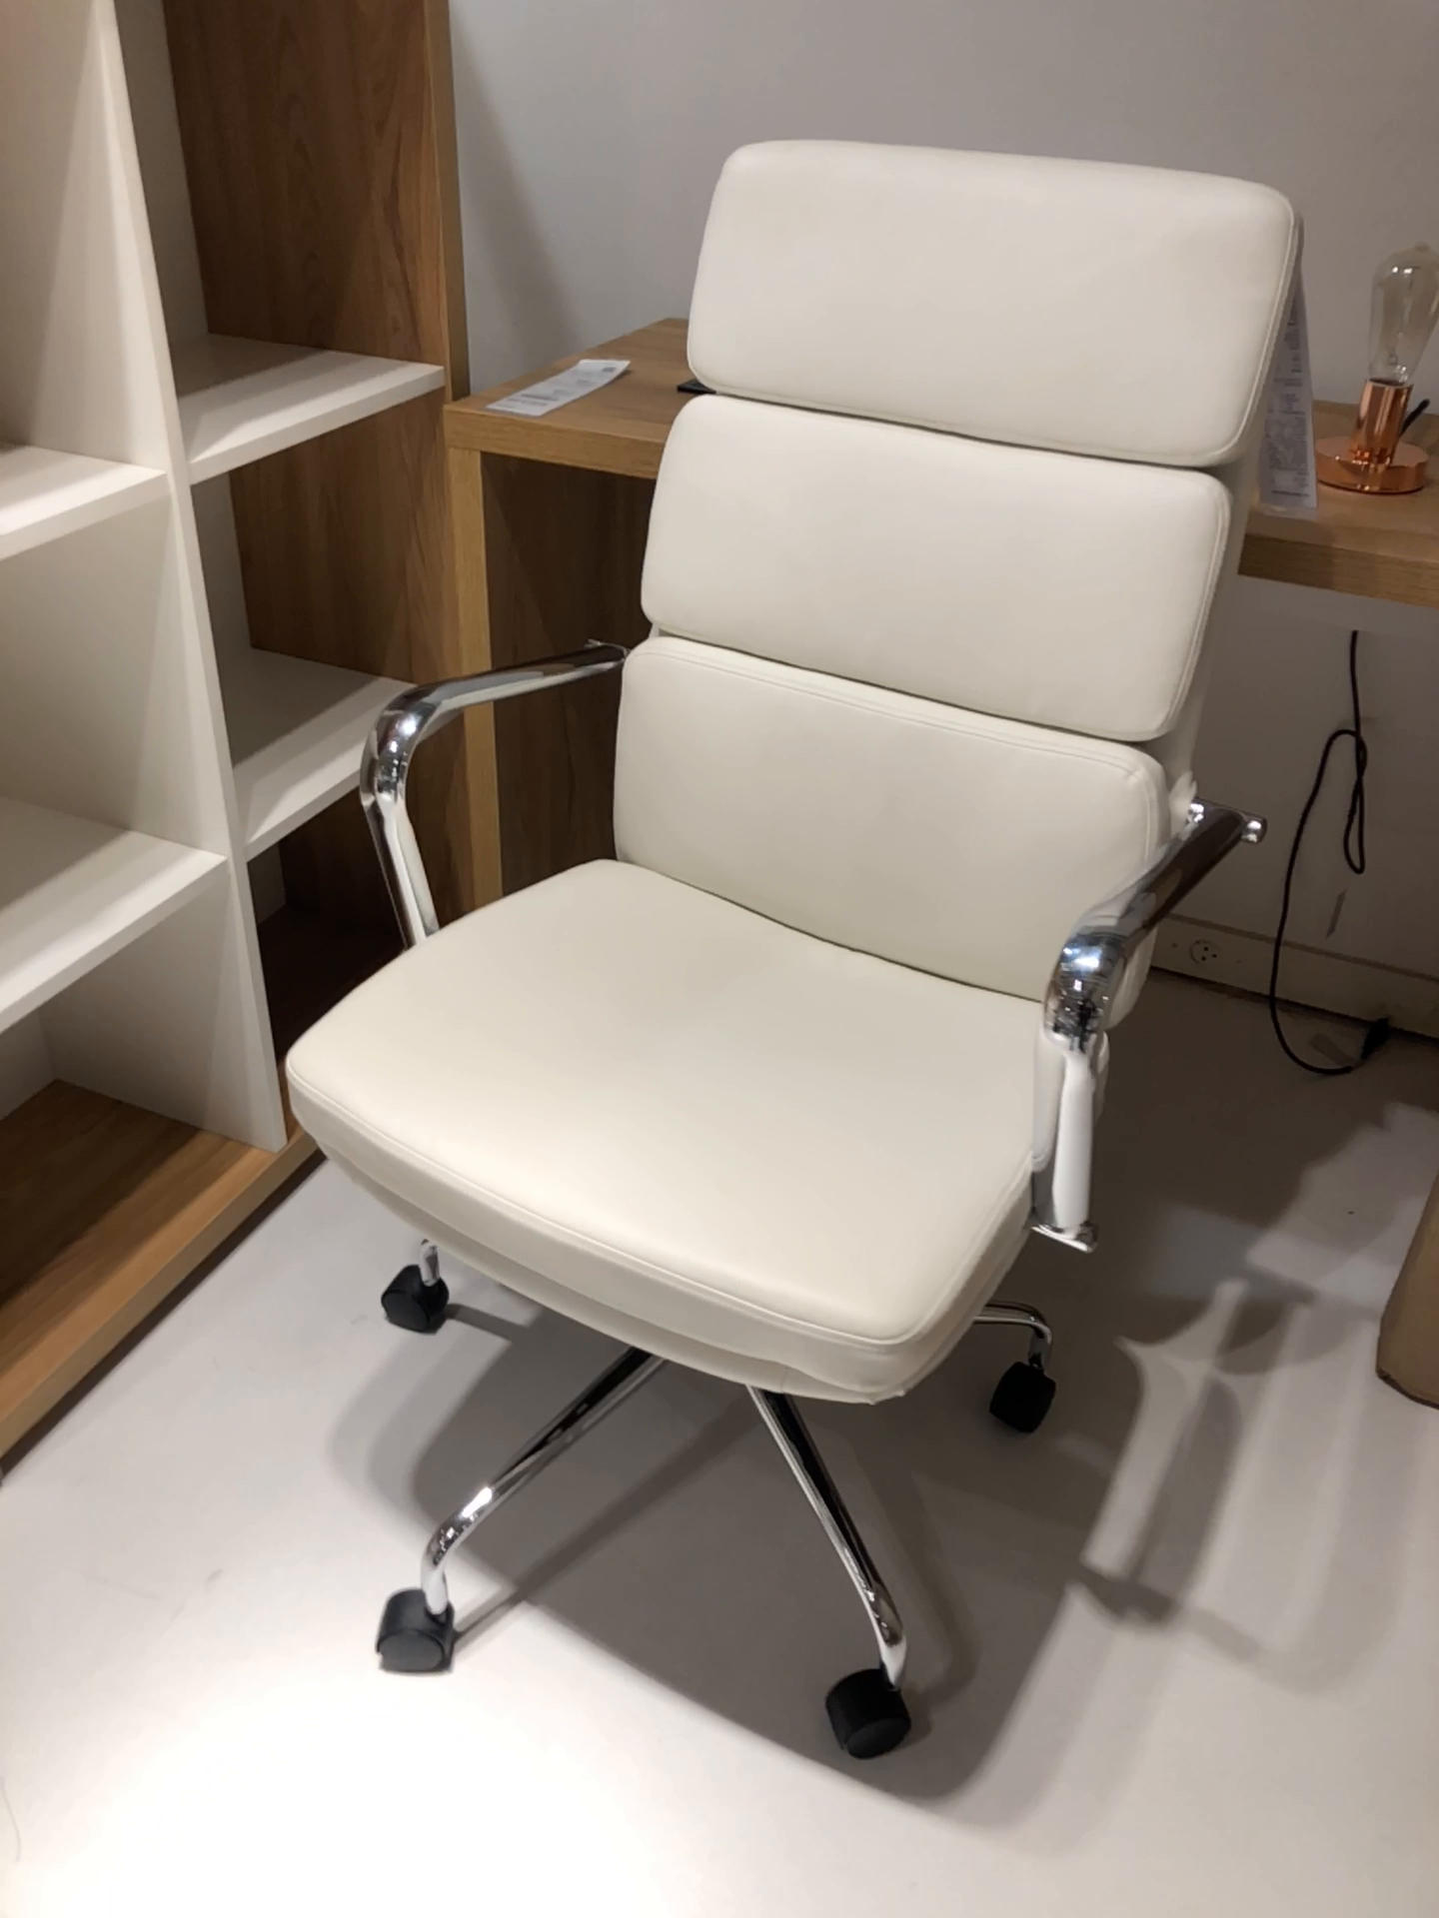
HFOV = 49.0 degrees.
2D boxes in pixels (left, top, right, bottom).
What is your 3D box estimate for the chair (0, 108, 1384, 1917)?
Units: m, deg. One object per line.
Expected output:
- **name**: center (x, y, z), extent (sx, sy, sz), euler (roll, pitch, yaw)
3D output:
- **chair**: center (-0.011, -0.009, 1.185), extent (0.641, 1.032, 0.685), euler (16, 36, 22)
